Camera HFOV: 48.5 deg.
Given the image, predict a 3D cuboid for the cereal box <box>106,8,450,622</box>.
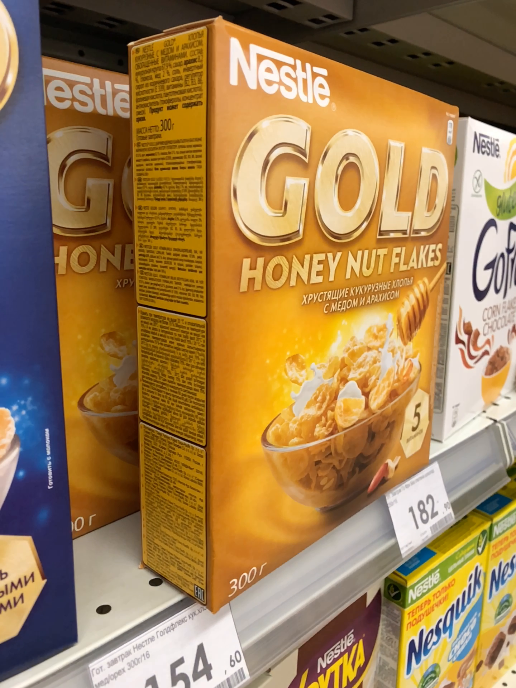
[{"bbox_3d":[0.024,-0.017,0.288,0.050,0.219,0.191,11,16,40],"label":"cereal box"}]
